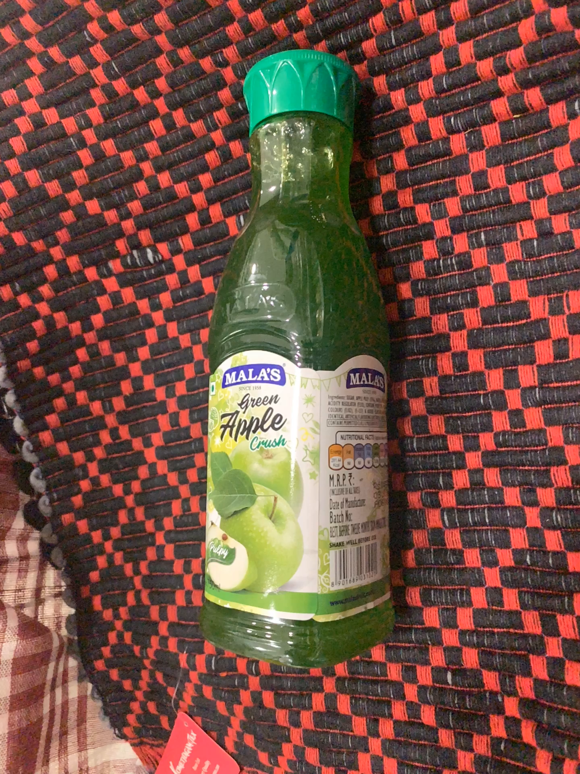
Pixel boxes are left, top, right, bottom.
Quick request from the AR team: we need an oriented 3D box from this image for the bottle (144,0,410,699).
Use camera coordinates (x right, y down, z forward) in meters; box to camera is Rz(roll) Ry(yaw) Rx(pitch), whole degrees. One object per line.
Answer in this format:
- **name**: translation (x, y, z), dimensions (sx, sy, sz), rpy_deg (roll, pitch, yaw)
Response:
- **bottle**: translation (0.001, -0.022, 0.248), dimensions (0.070, 0.070, 0.250), rpy_deg (-2, 80, 32)
